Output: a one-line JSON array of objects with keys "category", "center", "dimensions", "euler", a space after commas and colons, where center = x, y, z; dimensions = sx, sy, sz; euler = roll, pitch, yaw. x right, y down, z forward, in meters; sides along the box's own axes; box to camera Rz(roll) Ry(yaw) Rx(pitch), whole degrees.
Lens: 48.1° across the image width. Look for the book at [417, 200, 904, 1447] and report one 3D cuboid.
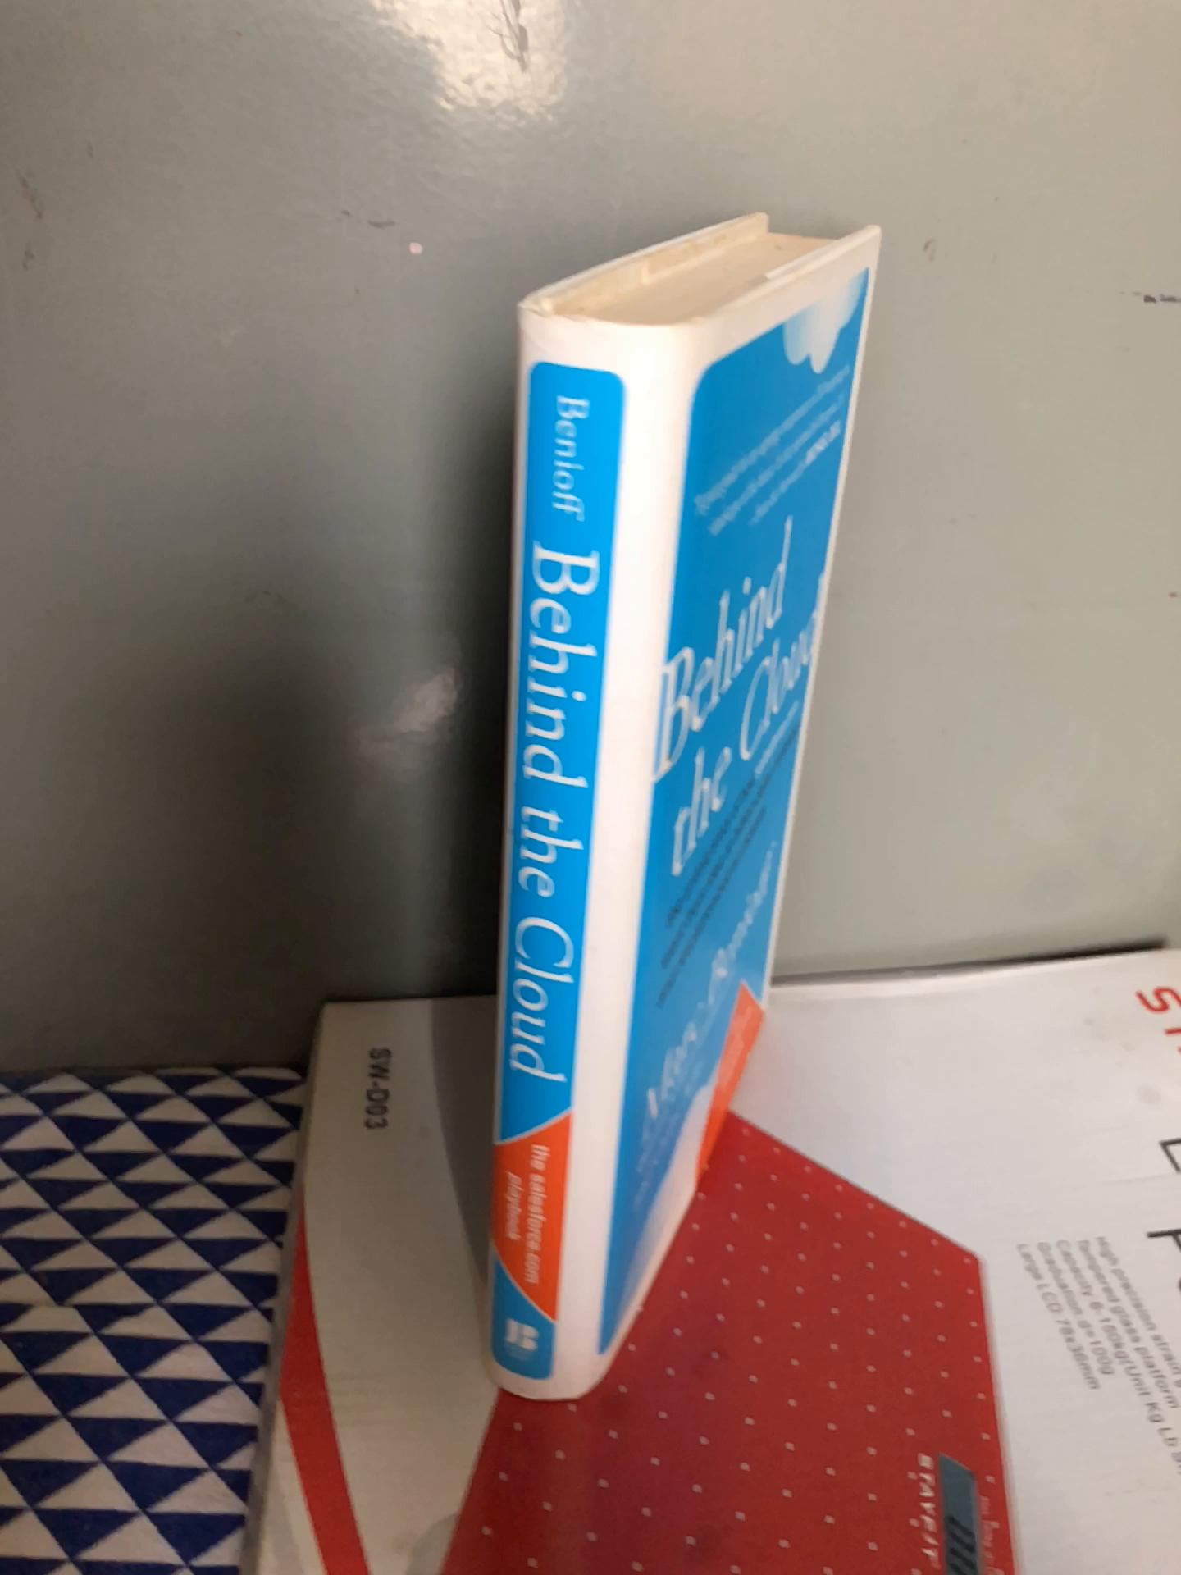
[{"category": "book", "center": [0.024, -0.007, 0.320], "dimensions": [0.040, 0.239, 0.191], "euler": [11, 28, 18]}]
